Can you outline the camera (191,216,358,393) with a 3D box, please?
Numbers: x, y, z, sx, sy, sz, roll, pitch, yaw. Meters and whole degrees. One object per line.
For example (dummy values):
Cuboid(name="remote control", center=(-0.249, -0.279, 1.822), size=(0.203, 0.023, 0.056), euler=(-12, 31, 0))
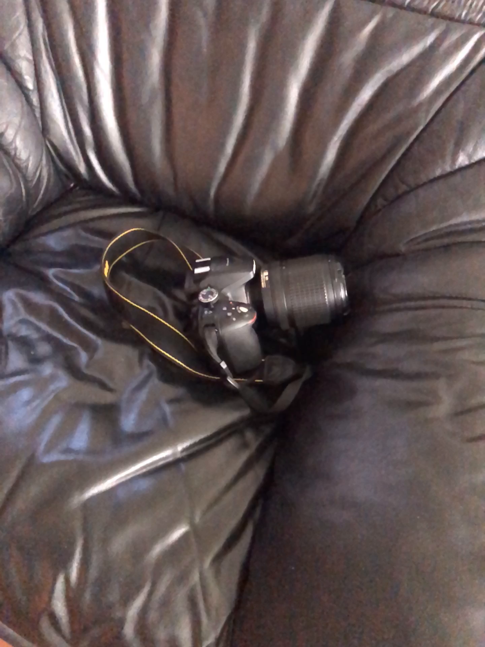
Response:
Cuboid(name="camera", center=(0.039, -0.022, 0.648), size=(0.170, 0.130, 0.140), euler=(-9, 46, 6))
